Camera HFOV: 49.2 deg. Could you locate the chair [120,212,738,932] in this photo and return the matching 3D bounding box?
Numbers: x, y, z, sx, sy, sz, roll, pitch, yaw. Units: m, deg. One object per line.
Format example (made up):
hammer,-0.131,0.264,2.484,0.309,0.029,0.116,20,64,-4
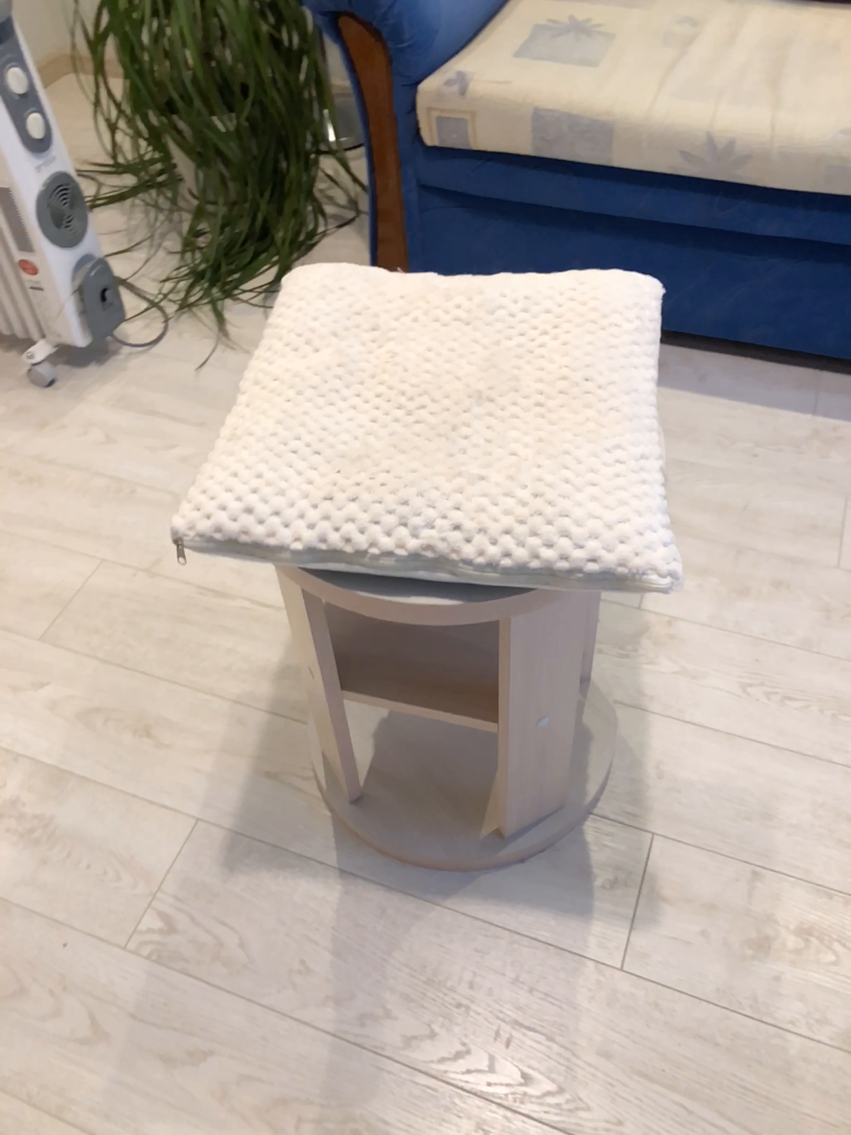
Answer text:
chair,0.039,0.013,0.963,0.380,0.546,0.402,16,51,18
